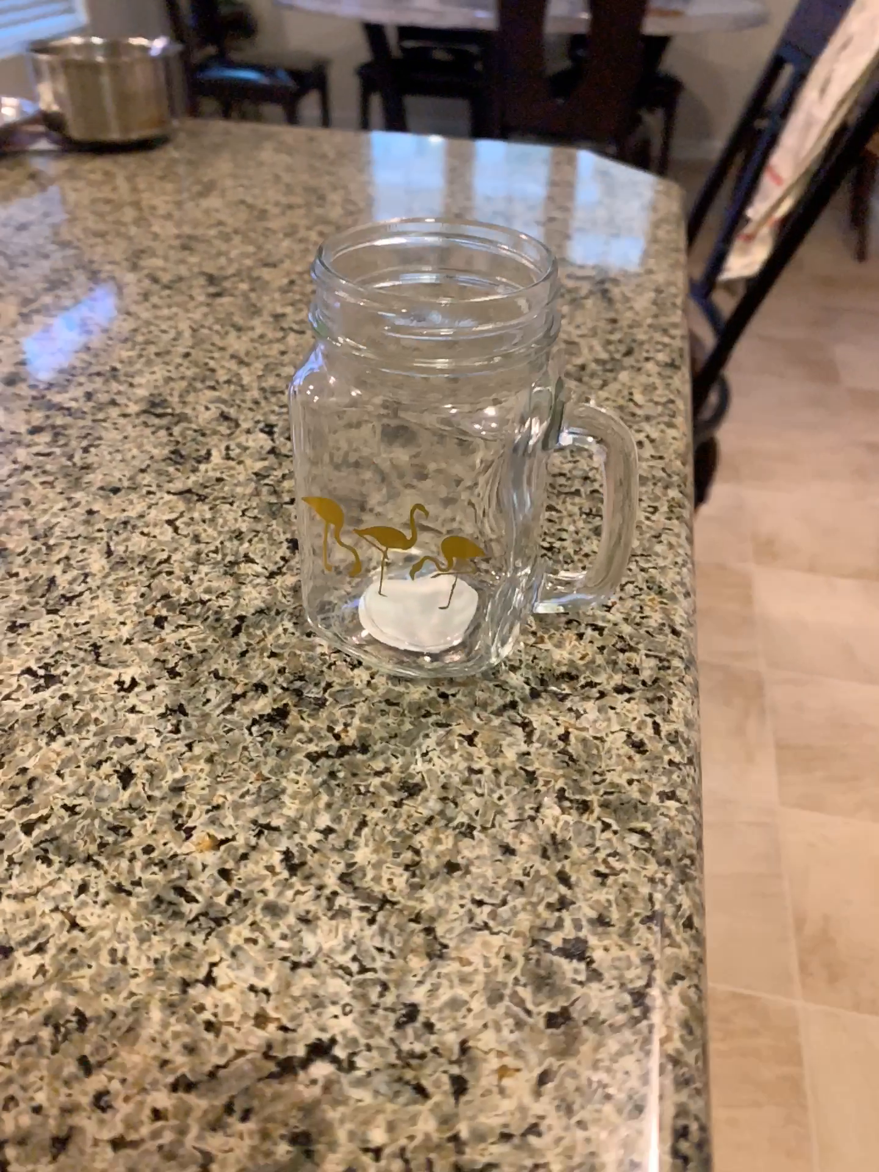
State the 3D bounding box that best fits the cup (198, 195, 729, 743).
[{"bbox_3d":[0.010,-0.036,0.269,0.120,0.119,0.081,10,39,11],"label":"cup"}]
